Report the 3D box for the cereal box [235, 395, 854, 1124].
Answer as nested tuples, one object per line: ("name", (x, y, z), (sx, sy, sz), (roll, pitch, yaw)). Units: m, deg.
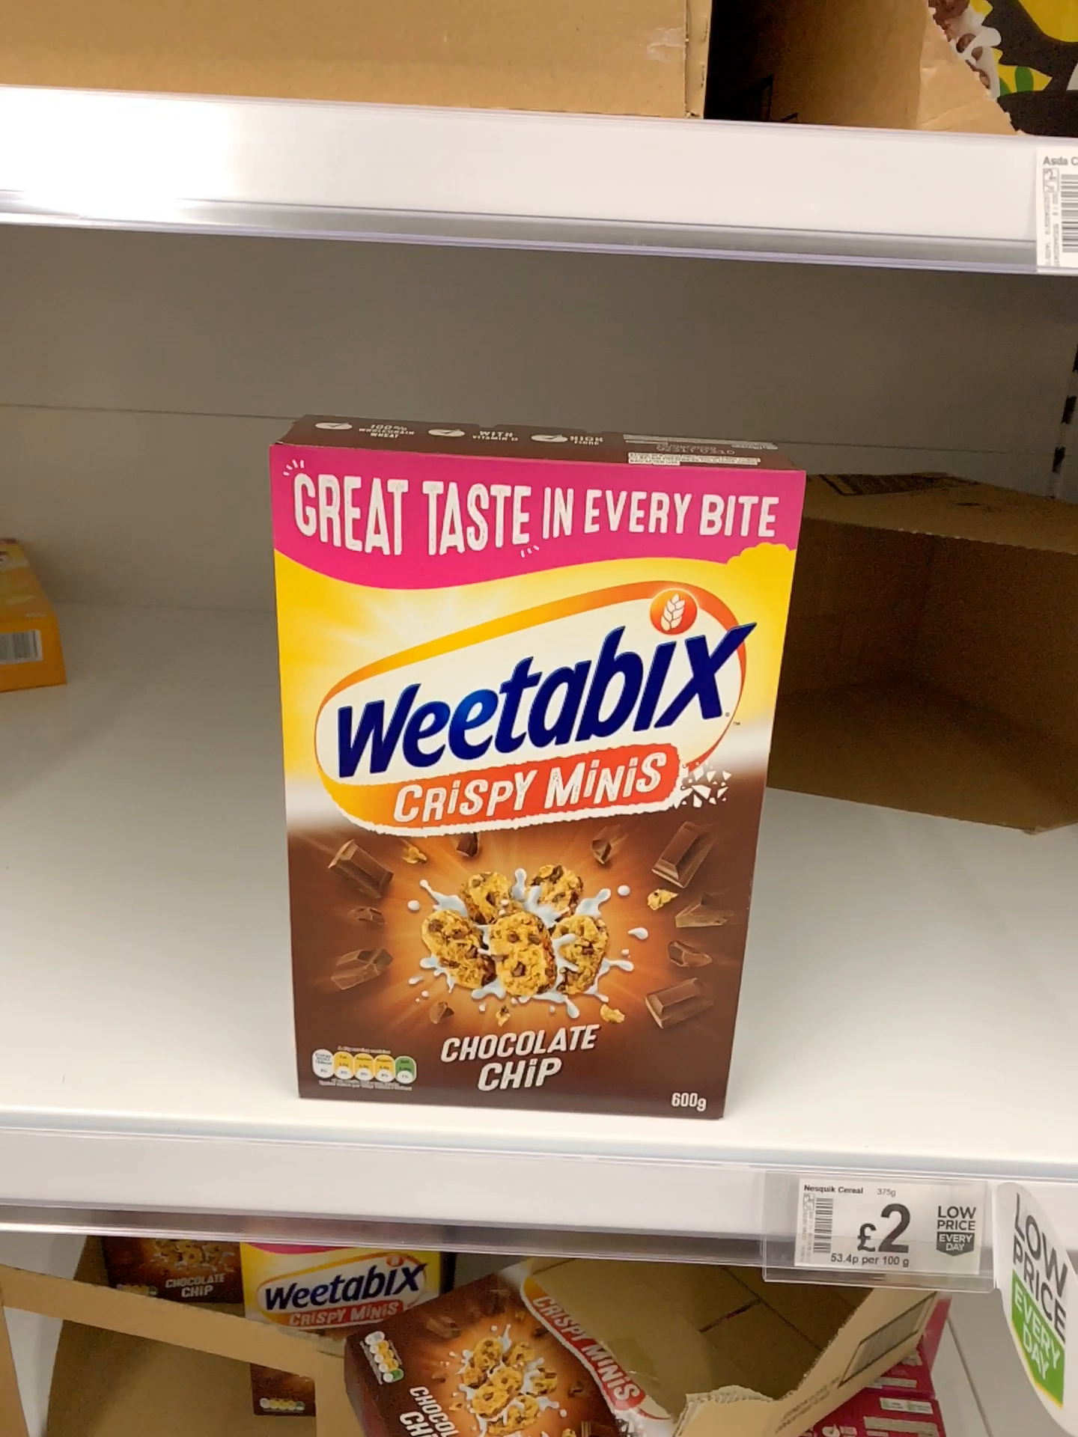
("cereal box", (-0.004, 0.024, 0.461), (0.210, 0.288, 0.071), (3, 22, 0))
